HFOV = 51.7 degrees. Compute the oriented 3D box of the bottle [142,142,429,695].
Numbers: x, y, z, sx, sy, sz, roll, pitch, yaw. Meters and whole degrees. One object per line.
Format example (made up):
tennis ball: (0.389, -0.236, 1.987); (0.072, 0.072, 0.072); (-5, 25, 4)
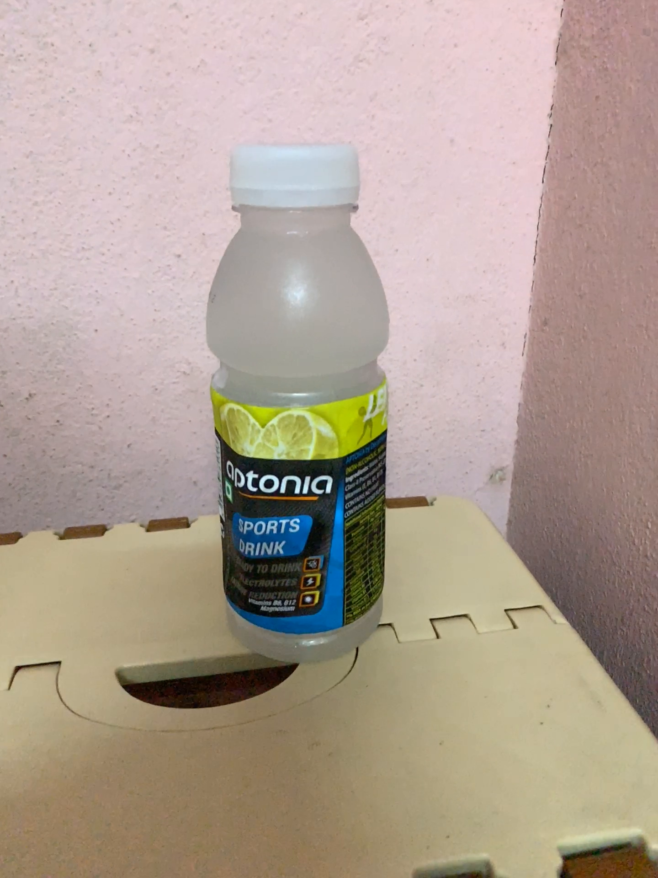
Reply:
bottle: (-0.010, -0.008, 0.242); (0.070, 0.179, 0.060); (7, 24, 17)
